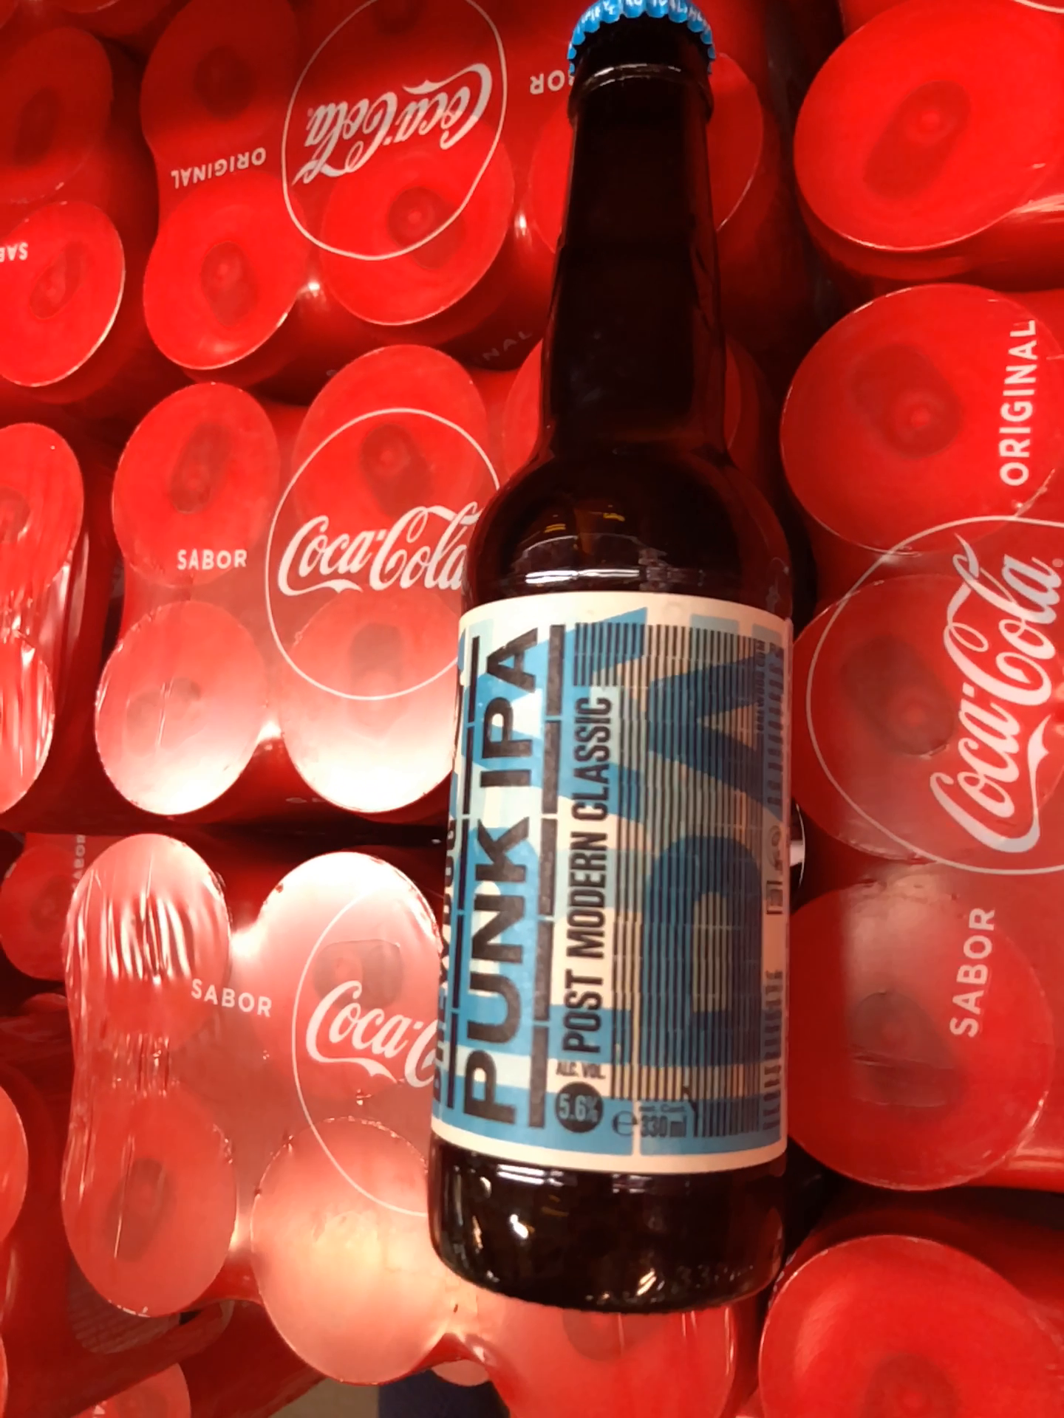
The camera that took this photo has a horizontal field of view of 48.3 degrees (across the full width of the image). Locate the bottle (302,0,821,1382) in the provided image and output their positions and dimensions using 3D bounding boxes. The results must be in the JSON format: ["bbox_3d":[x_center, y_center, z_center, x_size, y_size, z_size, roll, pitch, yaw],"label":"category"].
[{"bbox_3d":[0.011,-0.029,0.196,0.060,0.060,0.230,-2,82,25],"label":"bottle"}]
